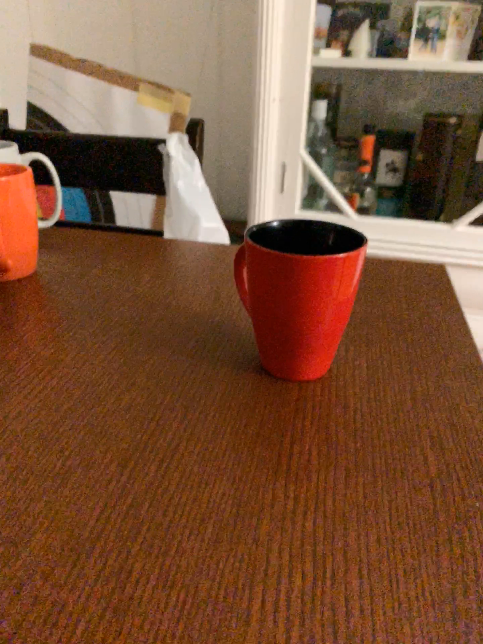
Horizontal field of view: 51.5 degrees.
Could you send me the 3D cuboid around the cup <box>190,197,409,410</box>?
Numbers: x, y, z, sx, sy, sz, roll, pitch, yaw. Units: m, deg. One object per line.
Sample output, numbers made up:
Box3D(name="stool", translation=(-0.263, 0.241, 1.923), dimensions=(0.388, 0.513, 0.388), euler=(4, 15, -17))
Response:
Box3D(name="cup", translation=(0.034, -0.024, 0.371), dimensions=(0.090, 0.099, 0.131), euler=(-15, 32, -30))
